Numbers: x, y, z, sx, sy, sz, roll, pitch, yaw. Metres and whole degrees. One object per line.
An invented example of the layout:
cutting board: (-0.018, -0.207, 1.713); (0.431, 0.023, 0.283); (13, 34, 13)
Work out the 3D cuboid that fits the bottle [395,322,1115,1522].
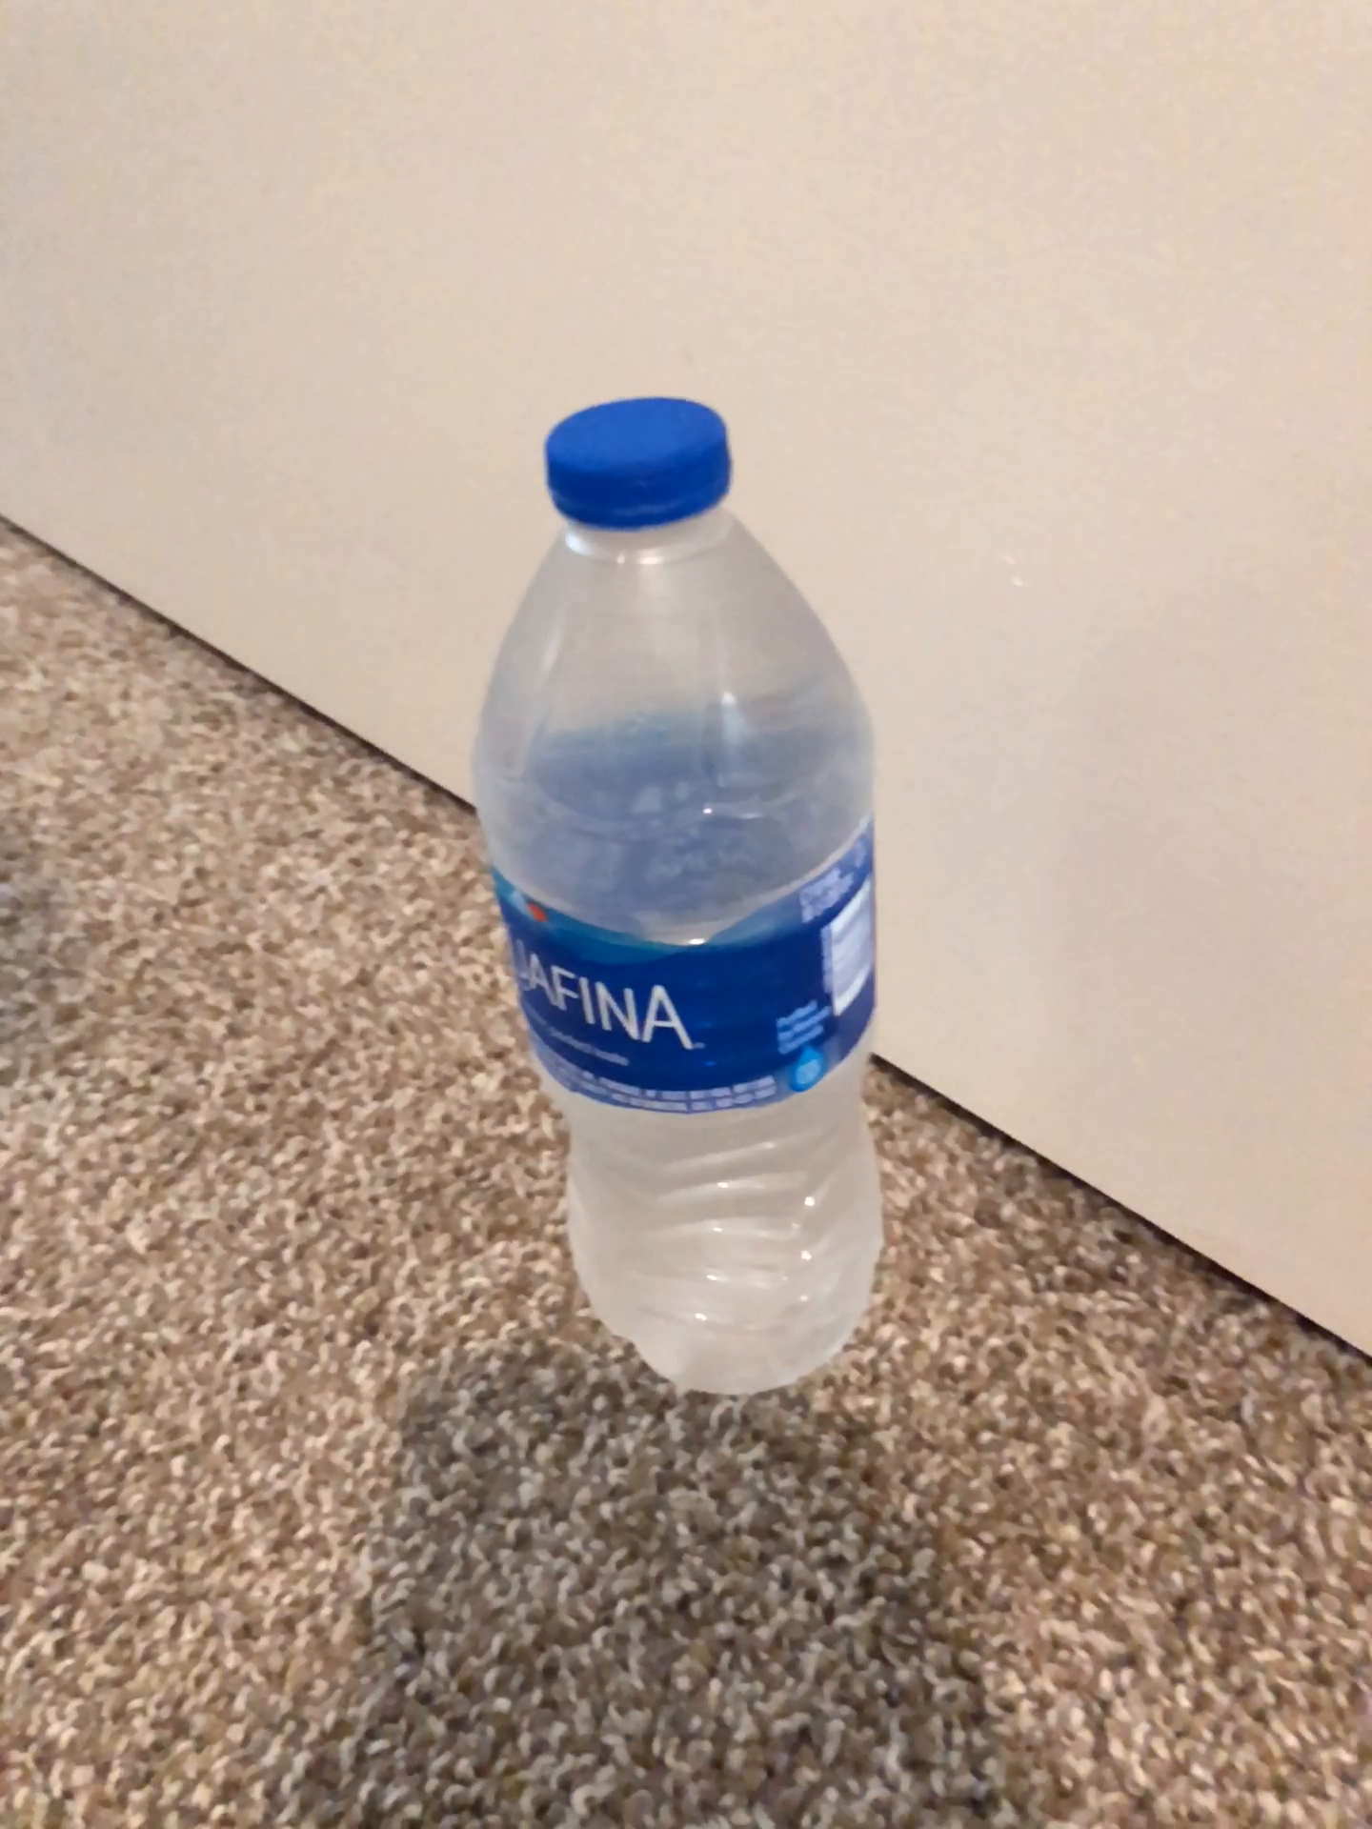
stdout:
bottle: (0.014, 0.009, 0.268); (0.070, 0.189, 0.070); (-3, 38, 2)
